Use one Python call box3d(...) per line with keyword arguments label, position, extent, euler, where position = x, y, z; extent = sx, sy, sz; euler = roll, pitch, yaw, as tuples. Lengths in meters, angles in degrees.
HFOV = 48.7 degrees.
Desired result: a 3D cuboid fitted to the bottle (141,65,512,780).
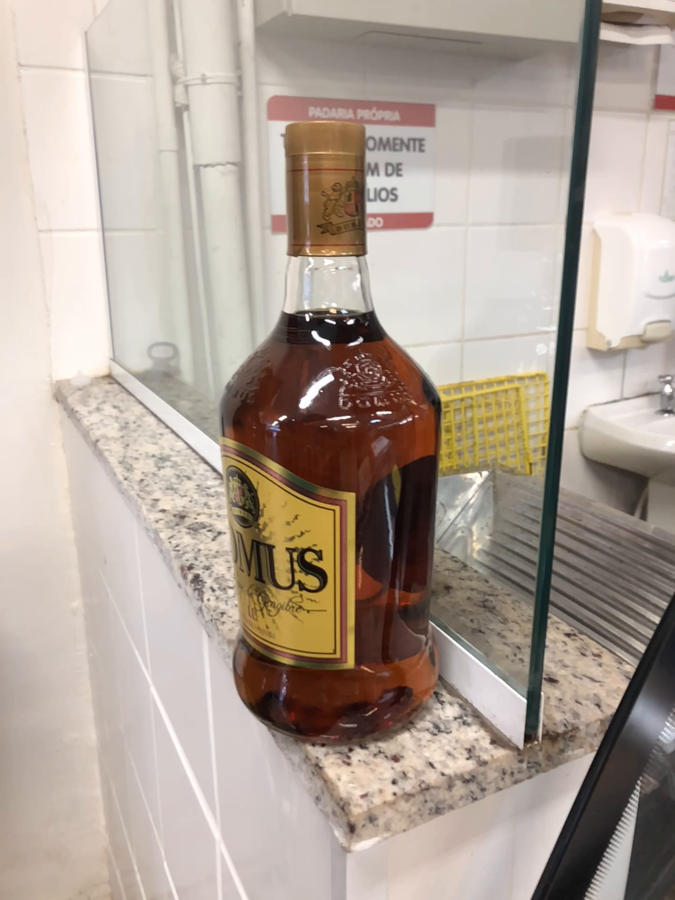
box3d(label="bottle", position=(-0.002, -0.014, 0.334), extent=(0.110, 0.259, 0.100), euler=(-15, 21, -40))
